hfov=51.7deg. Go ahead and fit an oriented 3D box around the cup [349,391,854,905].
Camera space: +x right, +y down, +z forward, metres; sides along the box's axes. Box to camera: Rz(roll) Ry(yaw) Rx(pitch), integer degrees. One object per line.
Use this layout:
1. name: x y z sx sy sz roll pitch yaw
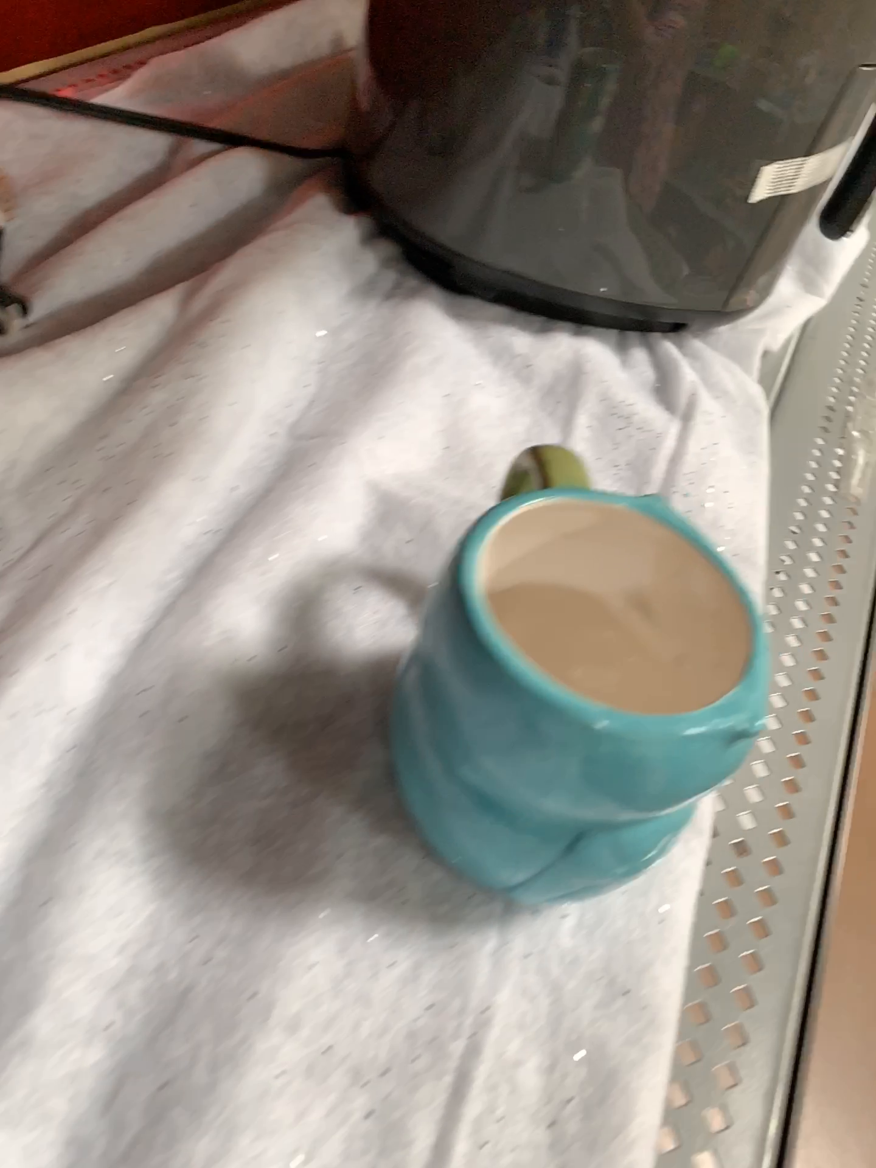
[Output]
1. cup: 0.036 0.022 0.286 0.108 0.087 0.128 5 50 -16
